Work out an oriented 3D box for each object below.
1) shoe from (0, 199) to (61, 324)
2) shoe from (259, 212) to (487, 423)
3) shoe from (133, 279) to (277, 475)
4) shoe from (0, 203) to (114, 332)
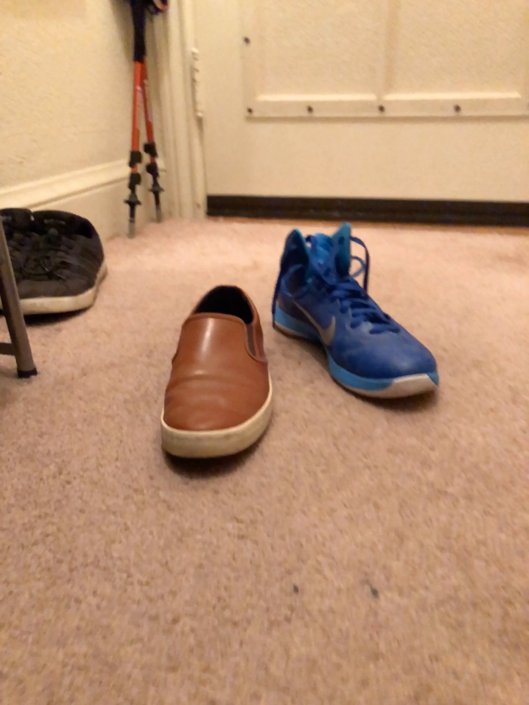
[{"bbox_3d":[-0.422,-0.156,0.924,0.115,0.112,0.294,-3,25,-5],"label":"shoe"},{"bbox_3d":[0.104,-0.062,0.689,0.115,0.142,0.293,-11,27,-20],"label":"shoe"},{"bbox_3d":[-0.045,0.007,0.613,0.105,0.083,0.284,0,25,3],"label":"shoe"},{"bbox_3d":[-0.319,-0.144,0.907,0.115,0.112,0.294,-3,25,-5],"label":"shoe"}]
